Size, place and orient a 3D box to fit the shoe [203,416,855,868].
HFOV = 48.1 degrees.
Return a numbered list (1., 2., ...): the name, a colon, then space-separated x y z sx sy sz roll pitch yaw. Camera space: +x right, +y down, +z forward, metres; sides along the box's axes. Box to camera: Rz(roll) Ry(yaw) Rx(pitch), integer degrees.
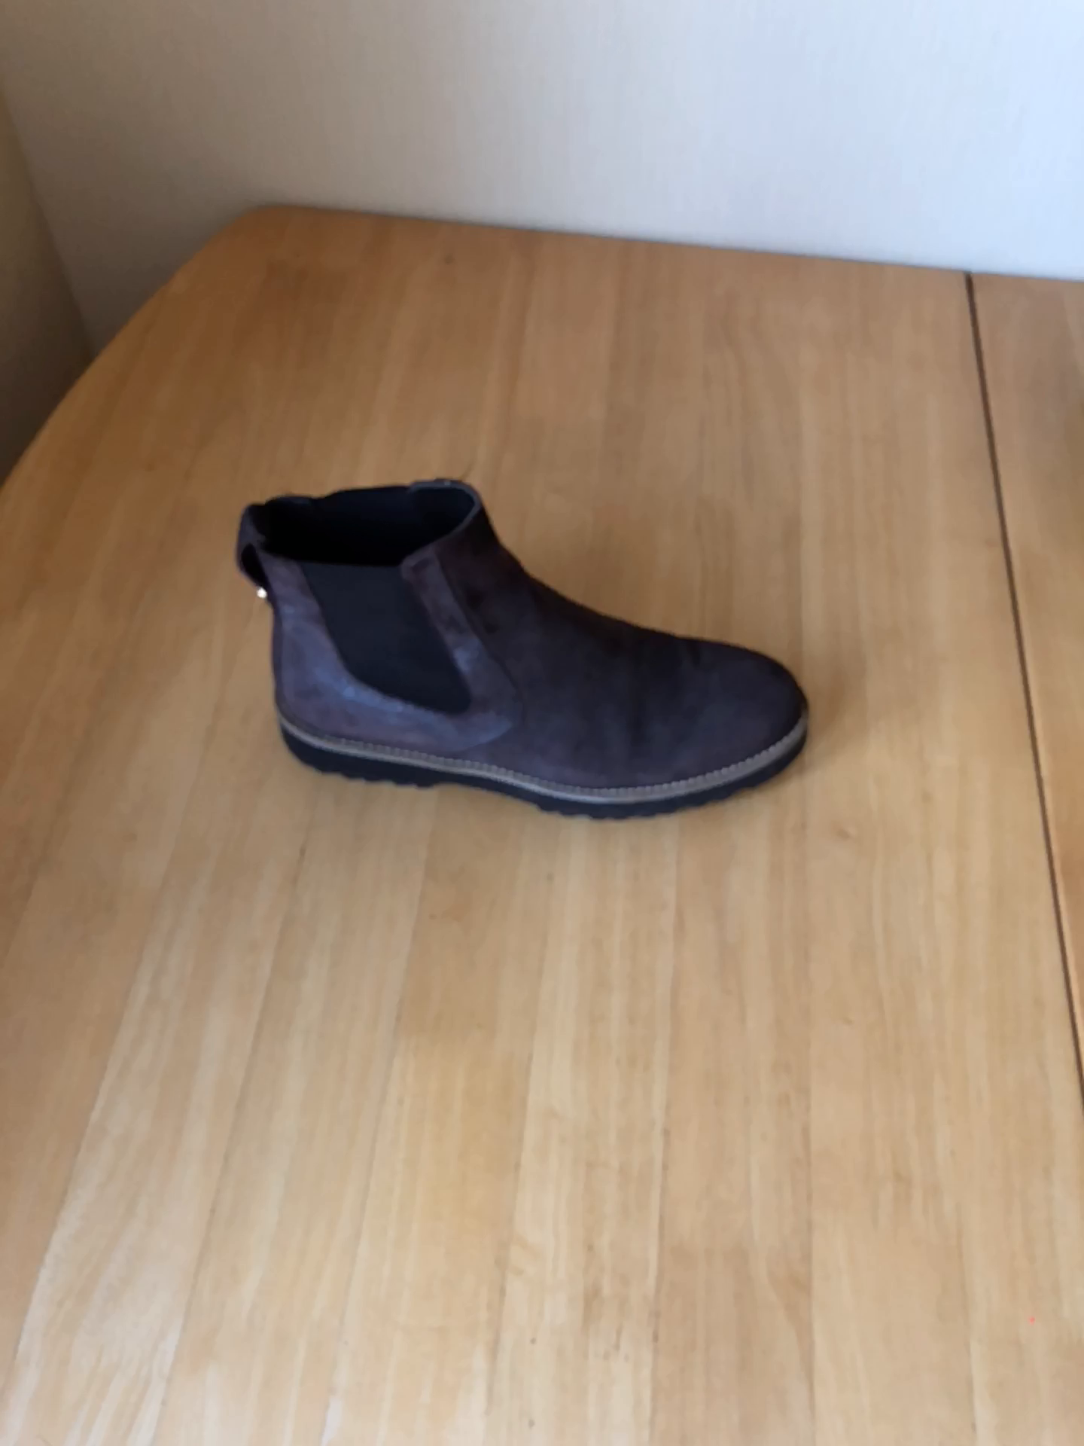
1. shoe: 0.000 -0.030 0.483 0.220 0.120 0.100 7 56 4
